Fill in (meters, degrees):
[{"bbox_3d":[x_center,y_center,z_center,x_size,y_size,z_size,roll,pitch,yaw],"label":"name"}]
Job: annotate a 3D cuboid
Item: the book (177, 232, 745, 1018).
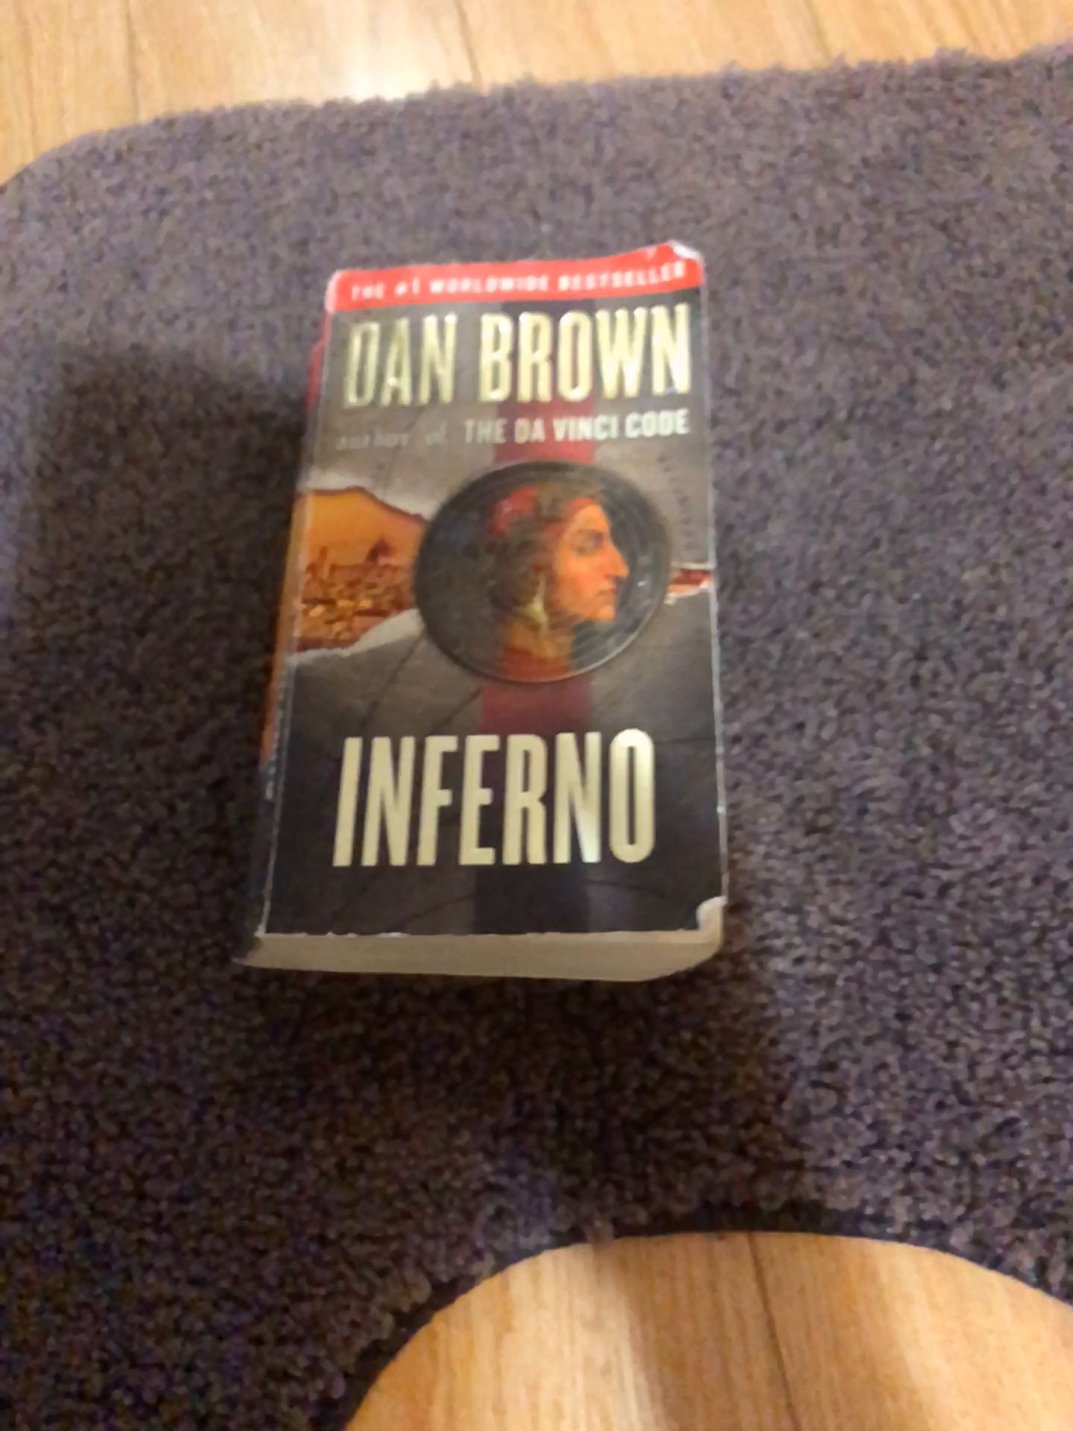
[{"bbox_3d":[-0.013,-0.028,0.314,0.120,0.050,0.200,0,68,3],"label":"book"}]
